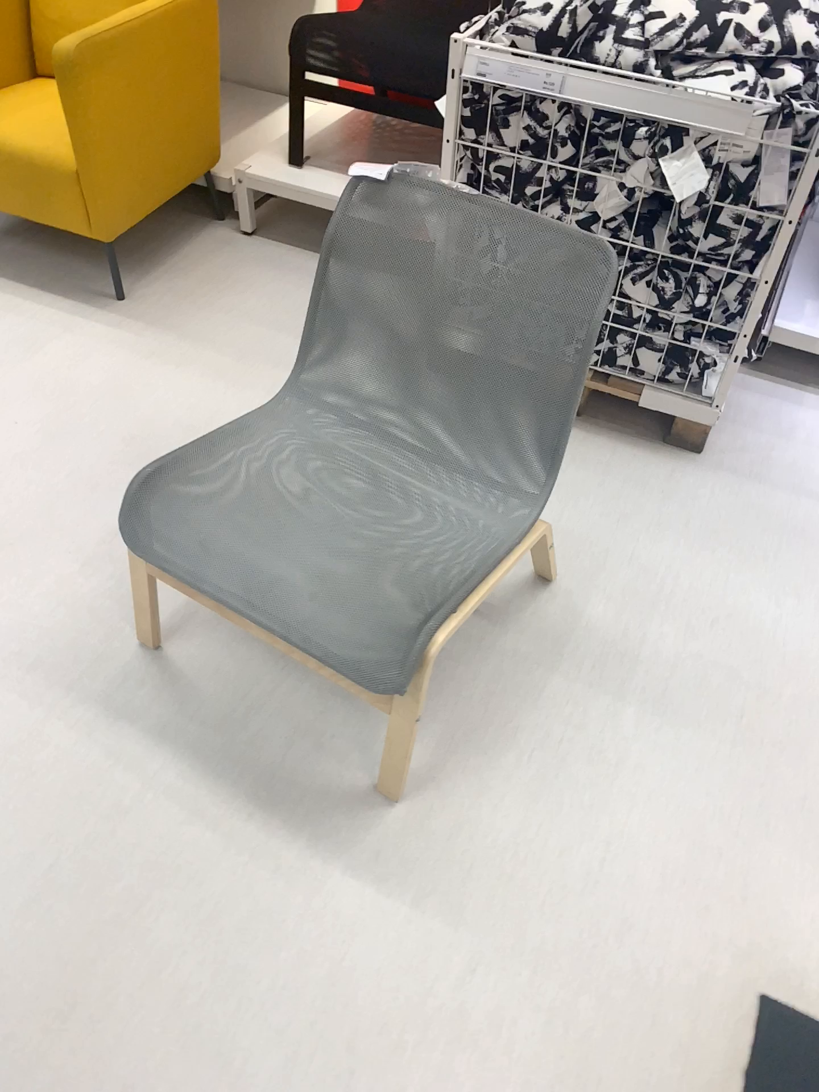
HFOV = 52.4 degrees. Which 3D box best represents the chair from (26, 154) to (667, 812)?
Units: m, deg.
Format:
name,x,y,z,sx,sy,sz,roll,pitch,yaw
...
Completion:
name,x,y,z,sx,sy,sz,roll,pitch,yaw
chair,-0.067,-0.144,1.493,0.631,0.698,0.752,27,51,20
